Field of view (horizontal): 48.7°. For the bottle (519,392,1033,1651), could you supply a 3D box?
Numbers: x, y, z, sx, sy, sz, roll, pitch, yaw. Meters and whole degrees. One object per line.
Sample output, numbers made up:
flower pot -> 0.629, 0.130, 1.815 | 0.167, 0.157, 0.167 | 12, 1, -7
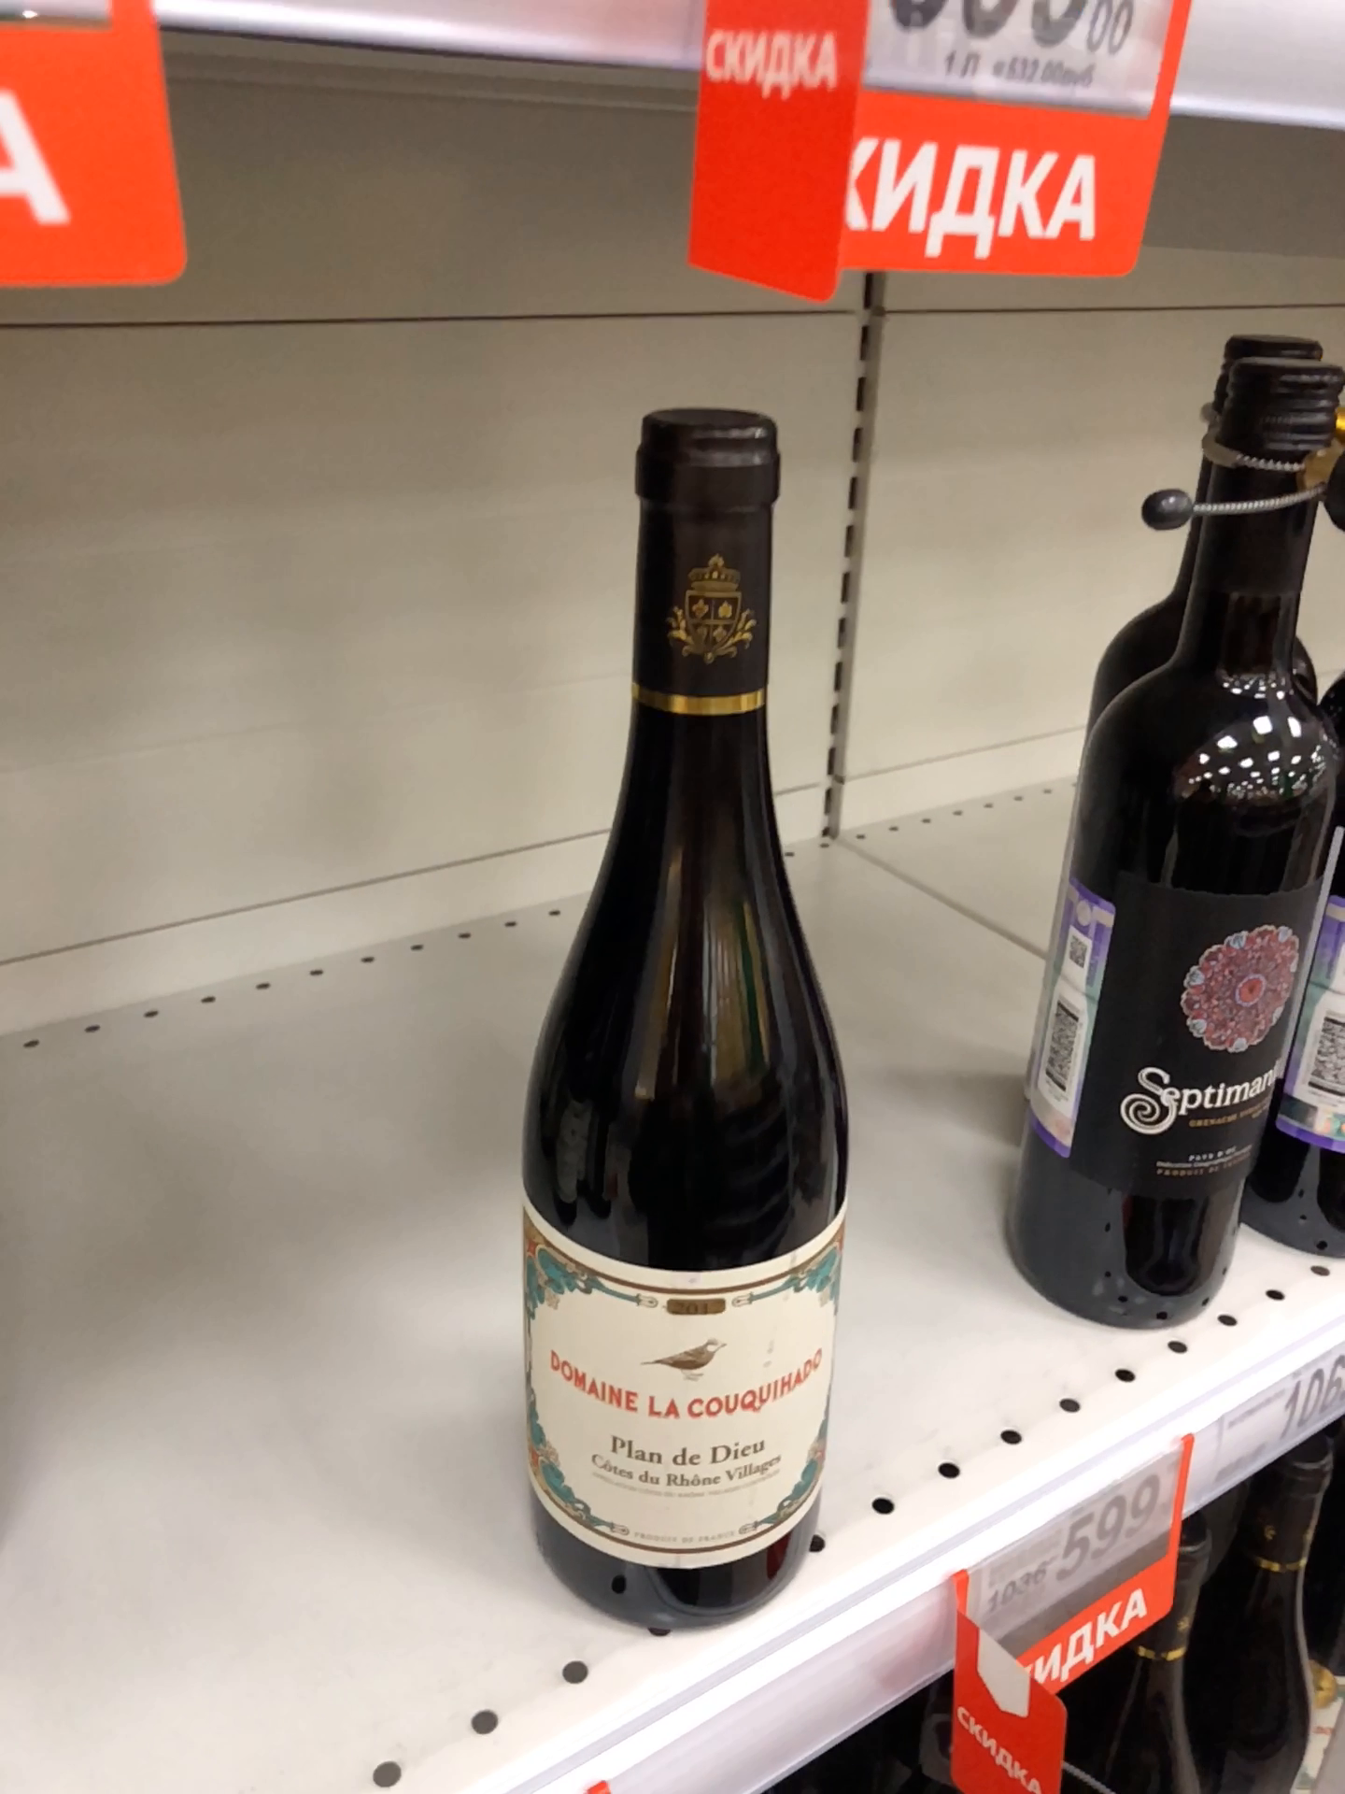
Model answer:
bottle -> 0.010, 0.041, 0.364 | 0.090, 0.301, 0.080 | -1, 25, -8
